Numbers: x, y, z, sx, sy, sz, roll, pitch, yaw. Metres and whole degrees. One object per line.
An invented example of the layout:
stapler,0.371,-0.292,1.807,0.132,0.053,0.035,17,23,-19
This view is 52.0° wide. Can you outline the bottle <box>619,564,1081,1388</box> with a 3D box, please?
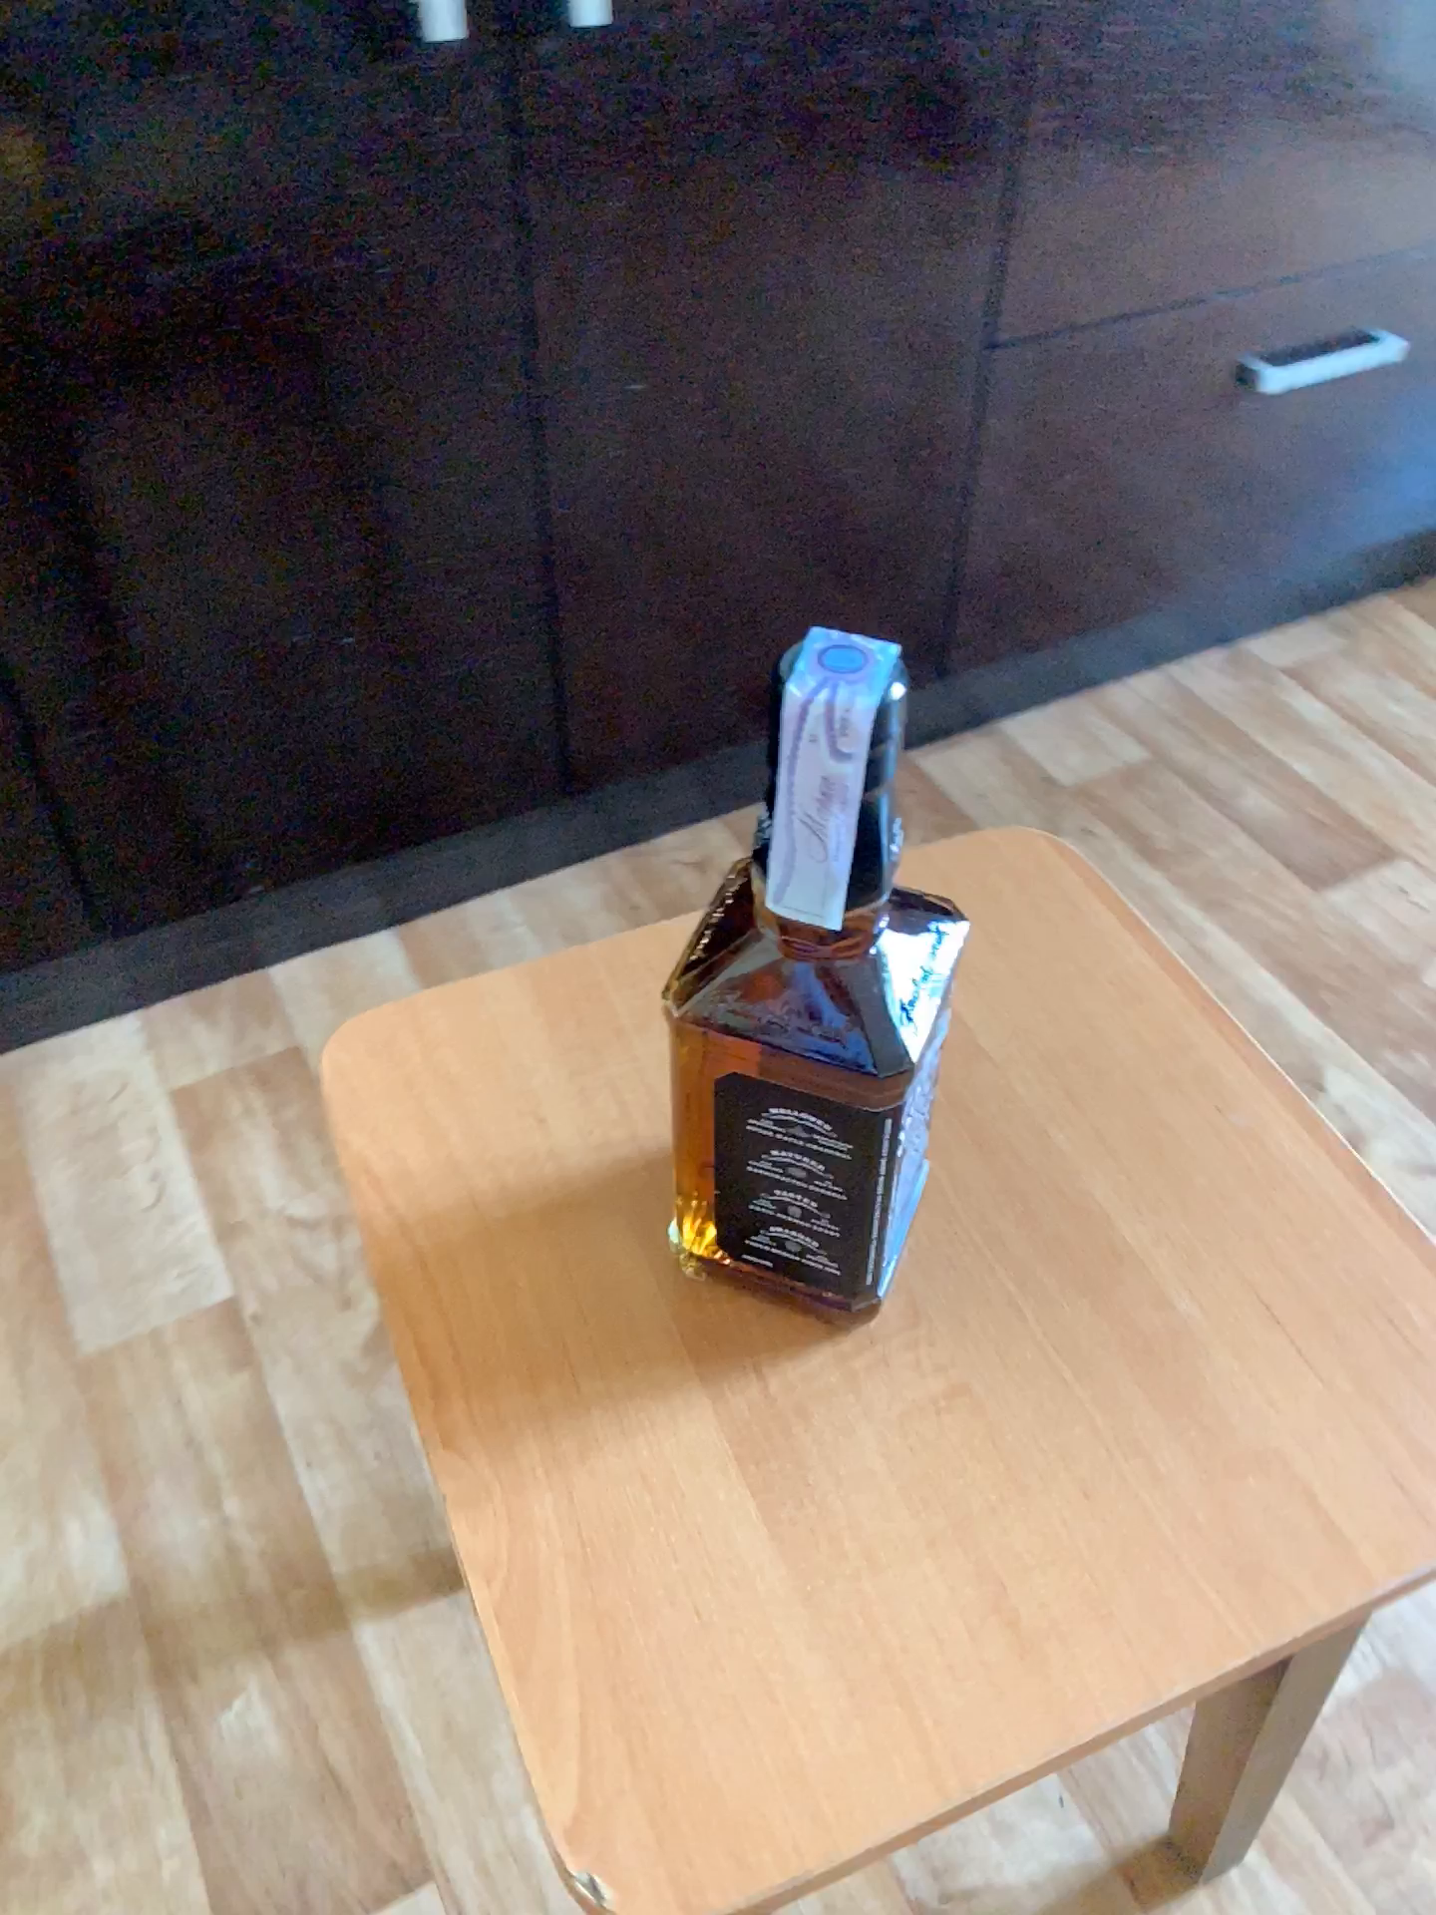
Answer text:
bottle,0.030,0.015,0.396,0.080,0.209,0.080,1,45,-1
